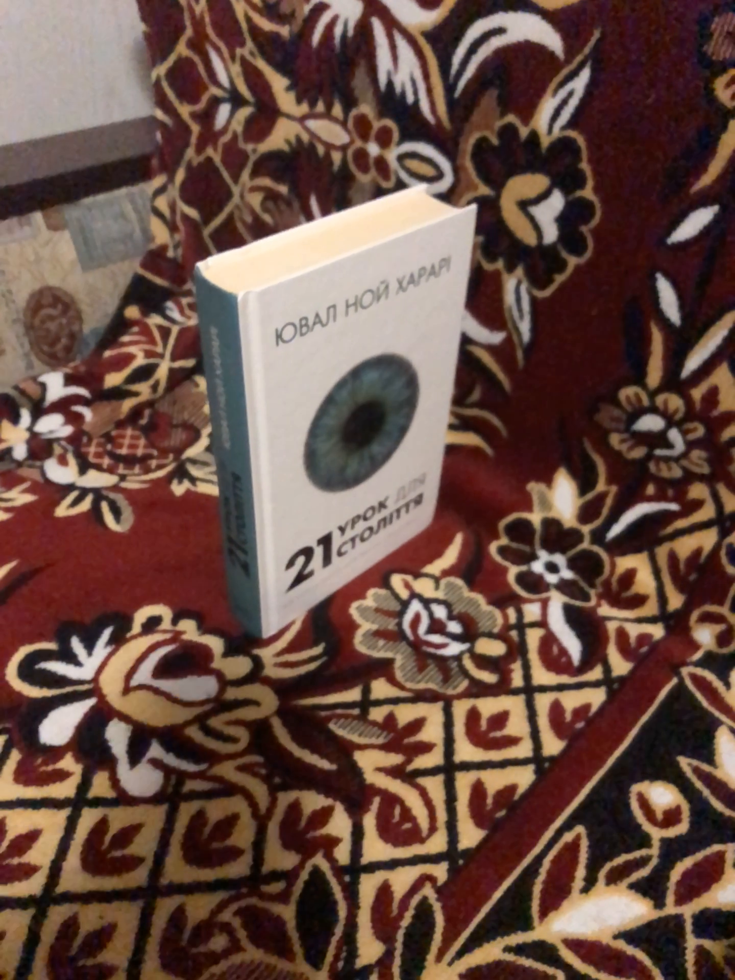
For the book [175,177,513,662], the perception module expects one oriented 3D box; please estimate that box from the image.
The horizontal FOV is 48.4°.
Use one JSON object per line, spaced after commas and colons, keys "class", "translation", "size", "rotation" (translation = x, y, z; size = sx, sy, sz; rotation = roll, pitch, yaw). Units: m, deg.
{"class": "book", "translation": [-0.010, -0.031, 0.413], "size": [0.153, 0.211, 0.040], "rotation": [-27, 49, -32]}
